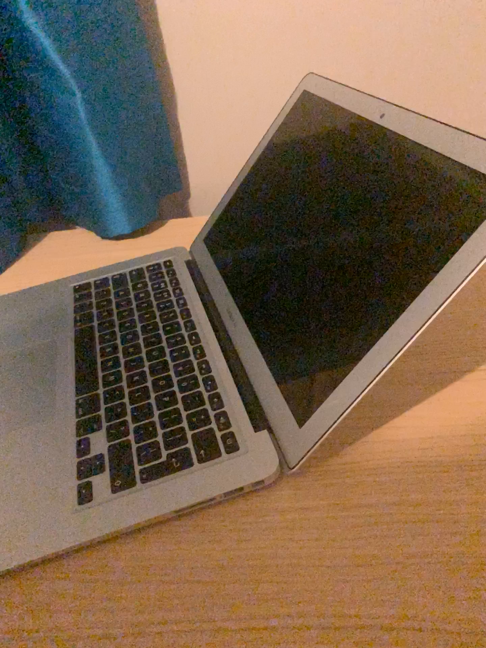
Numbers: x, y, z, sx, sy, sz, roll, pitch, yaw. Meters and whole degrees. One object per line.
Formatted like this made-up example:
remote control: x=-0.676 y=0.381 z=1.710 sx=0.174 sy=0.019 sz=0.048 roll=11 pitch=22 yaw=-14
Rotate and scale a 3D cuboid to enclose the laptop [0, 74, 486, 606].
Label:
laptop: x=-0.060 y=-0.046 z=0.370 sx=0.368 sy=0.144 sz=0.304 roll=-16 pitch=37 yaw=-9
